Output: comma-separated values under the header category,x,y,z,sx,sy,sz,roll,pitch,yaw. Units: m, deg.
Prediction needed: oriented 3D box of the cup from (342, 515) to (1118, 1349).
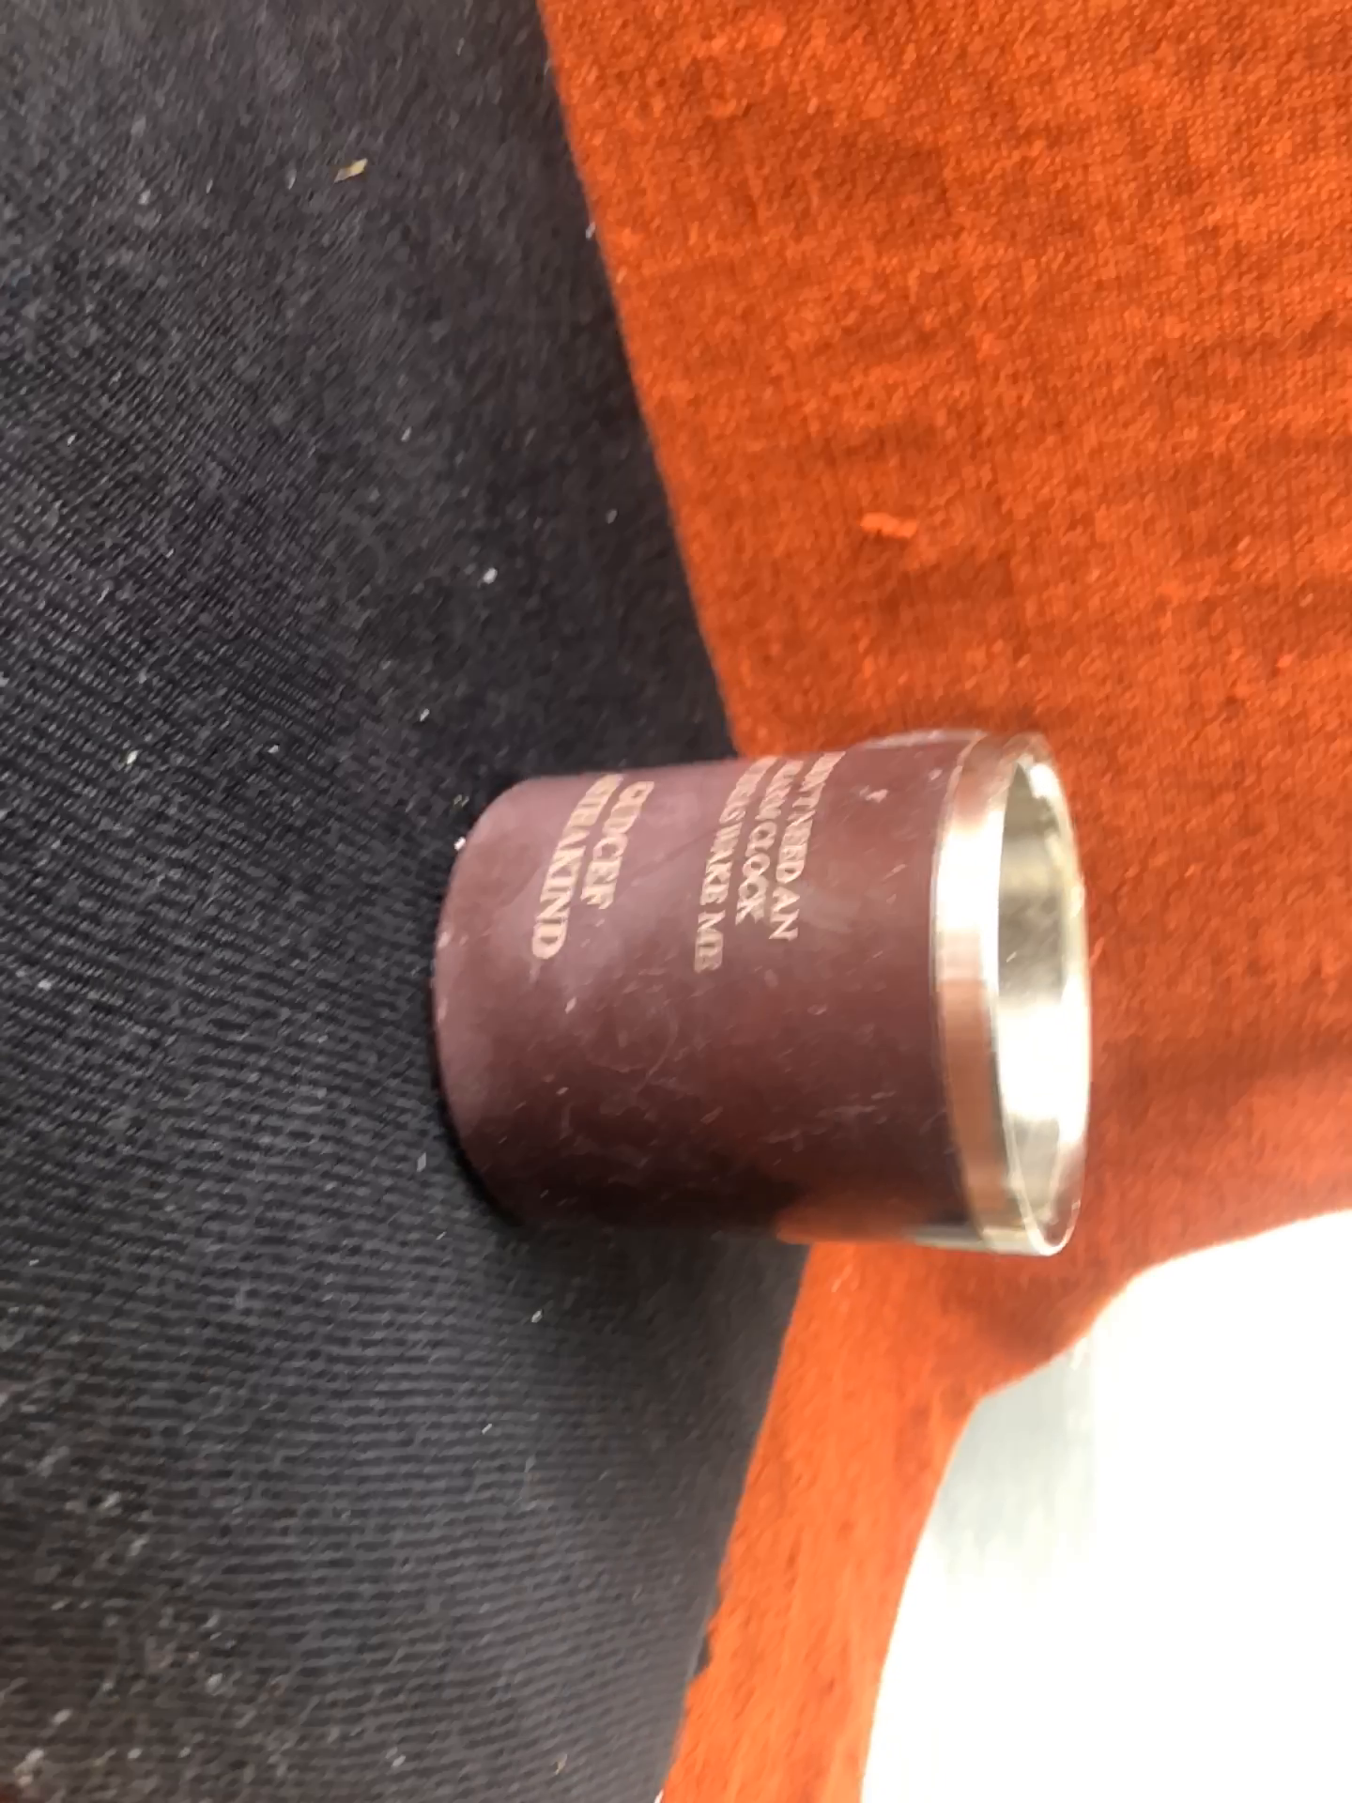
category,x,y,z,sx,sy,sz,roll,pitch,yaw
cup,0.022,0.001,0.263,0.110,0.089,0.090,-61,142,-52
